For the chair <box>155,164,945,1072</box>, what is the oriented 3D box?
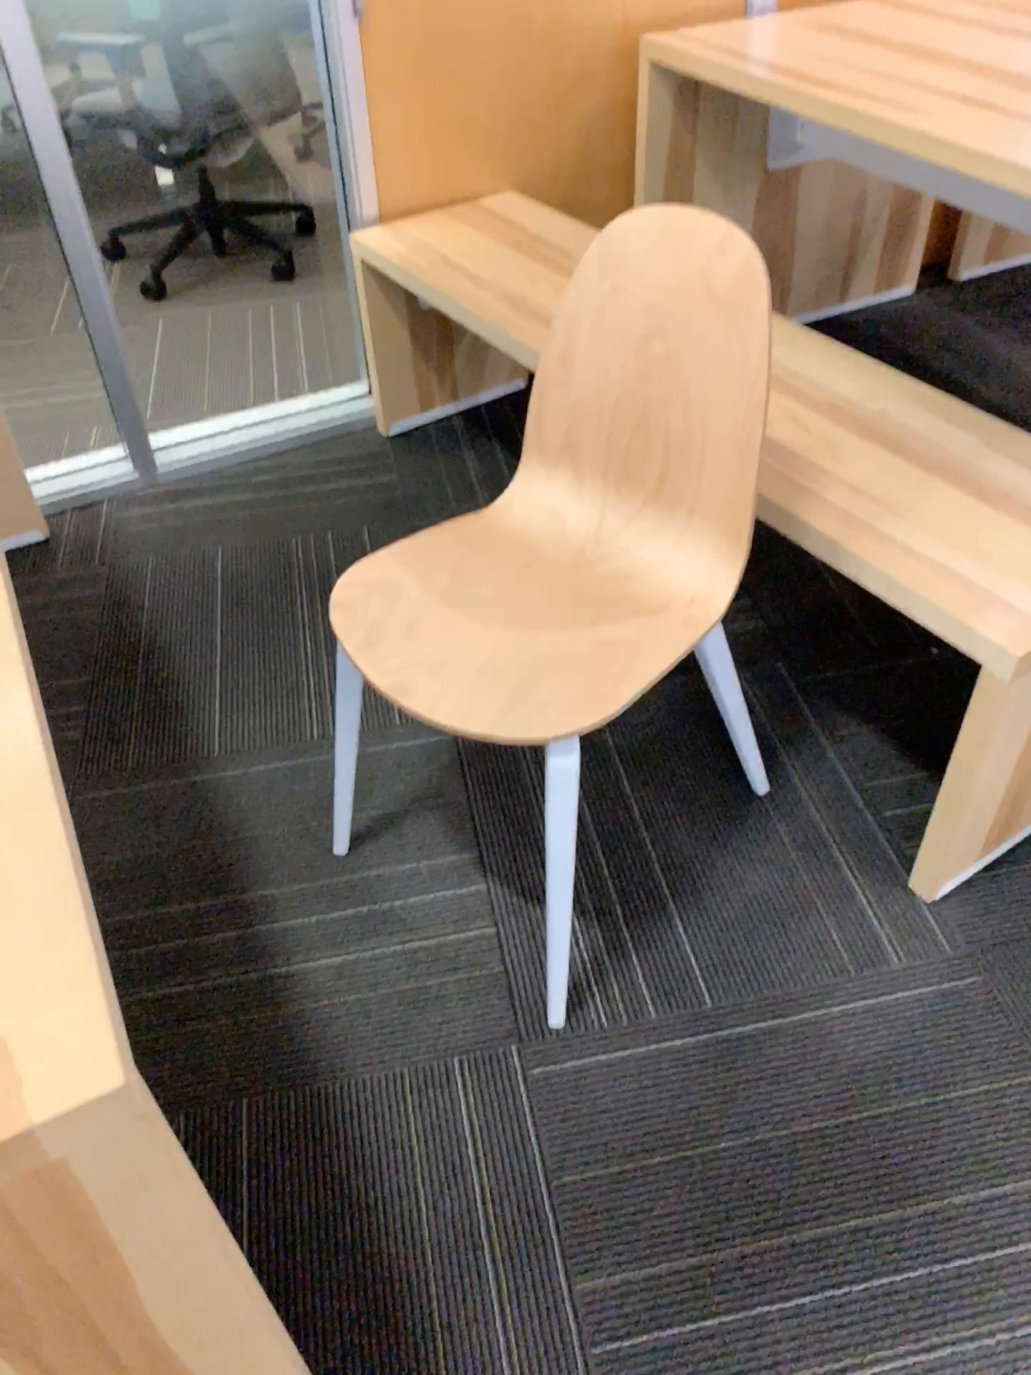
[{"bbox_3d":[0.057,-0.098,1.358,0.542,0.835,0.601,31,52,32],"label":"chair"}]
